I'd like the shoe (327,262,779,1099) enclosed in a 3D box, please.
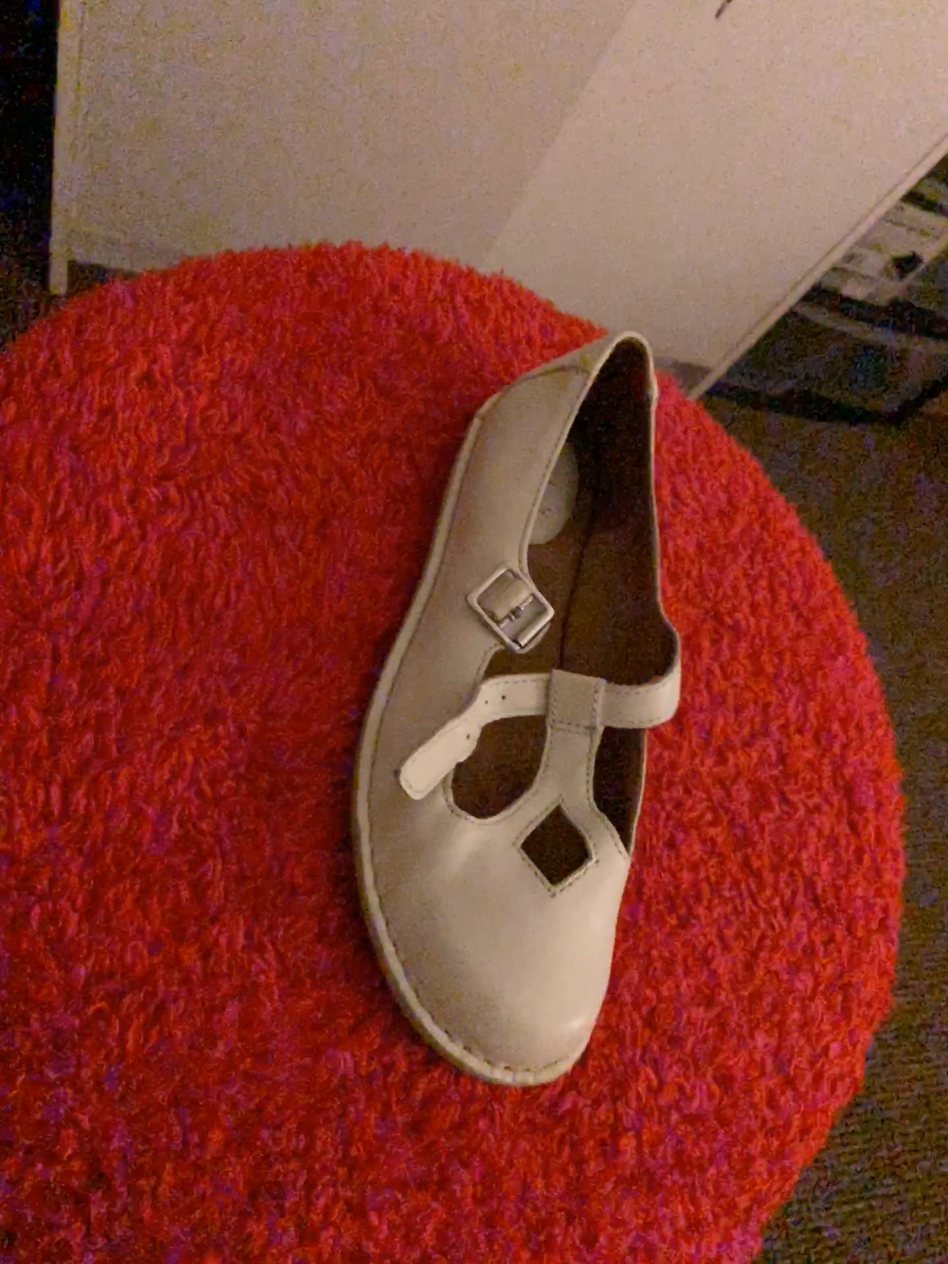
[{"bbox_3d":[0.023,0.015,0.339,0.100,0.089,0.261,12,62,-19],"label":"shoe"}]
